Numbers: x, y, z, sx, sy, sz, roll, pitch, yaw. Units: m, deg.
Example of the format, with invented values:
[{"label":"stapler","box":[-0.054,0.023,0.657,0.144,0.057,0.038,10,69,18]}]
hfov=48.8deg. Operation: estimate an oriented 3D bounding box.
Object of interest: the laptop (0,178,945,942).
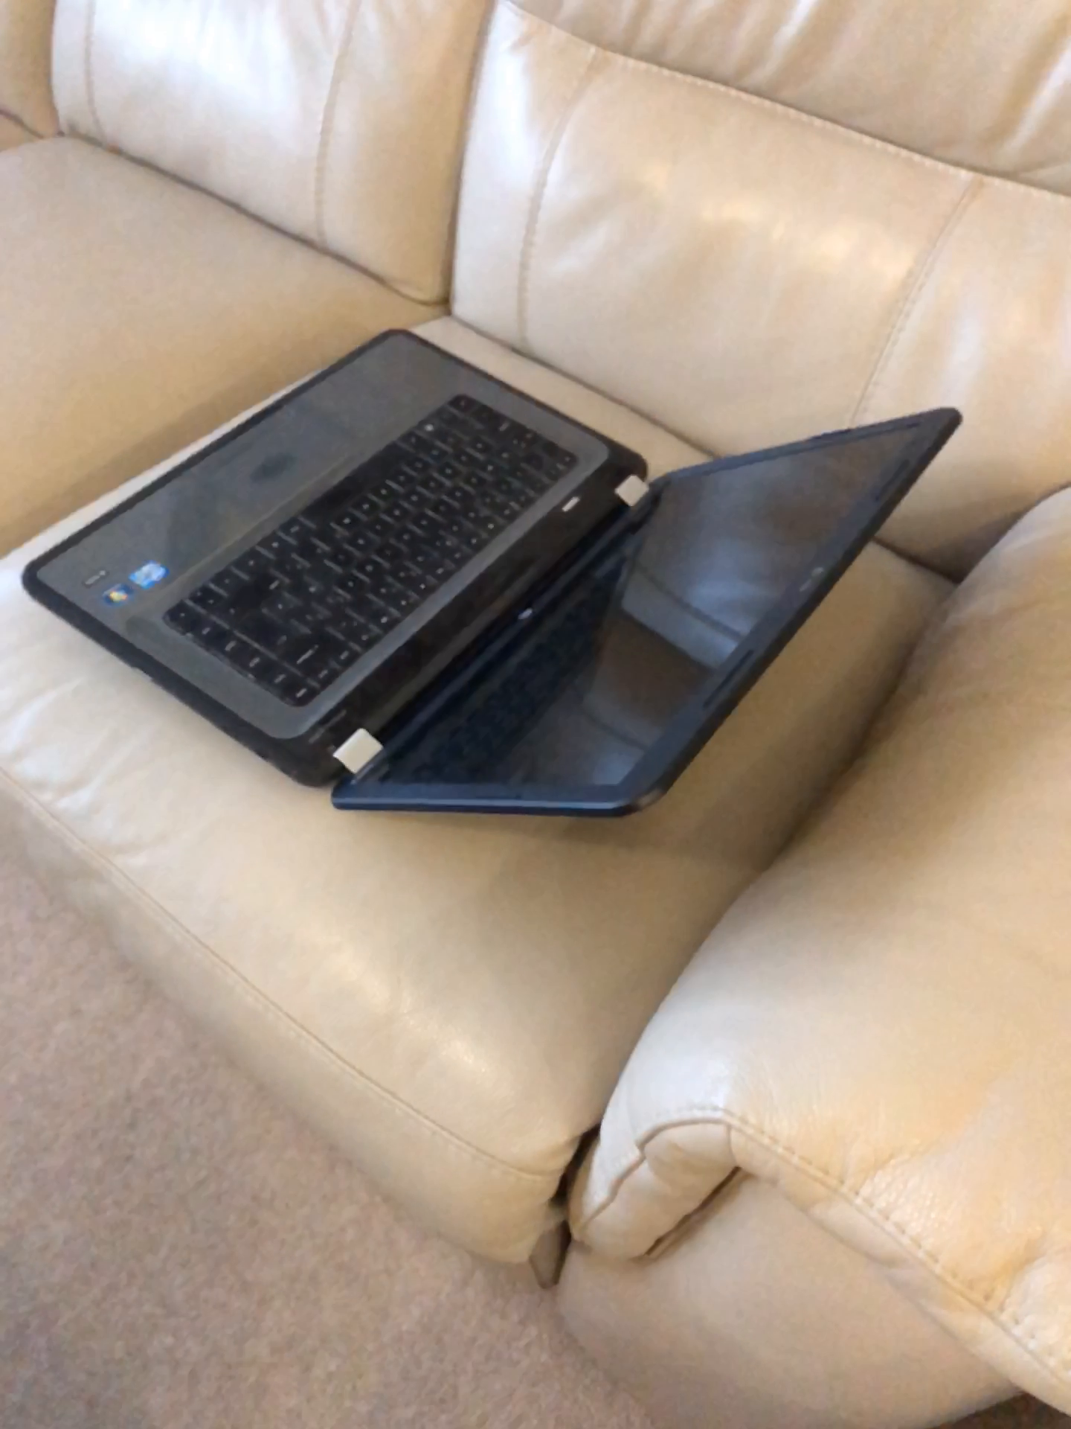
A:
[{"label":"laptop","box":[-0.035,-0.132,0.716,0.425,0.114,0.359,29,56,19]}]
